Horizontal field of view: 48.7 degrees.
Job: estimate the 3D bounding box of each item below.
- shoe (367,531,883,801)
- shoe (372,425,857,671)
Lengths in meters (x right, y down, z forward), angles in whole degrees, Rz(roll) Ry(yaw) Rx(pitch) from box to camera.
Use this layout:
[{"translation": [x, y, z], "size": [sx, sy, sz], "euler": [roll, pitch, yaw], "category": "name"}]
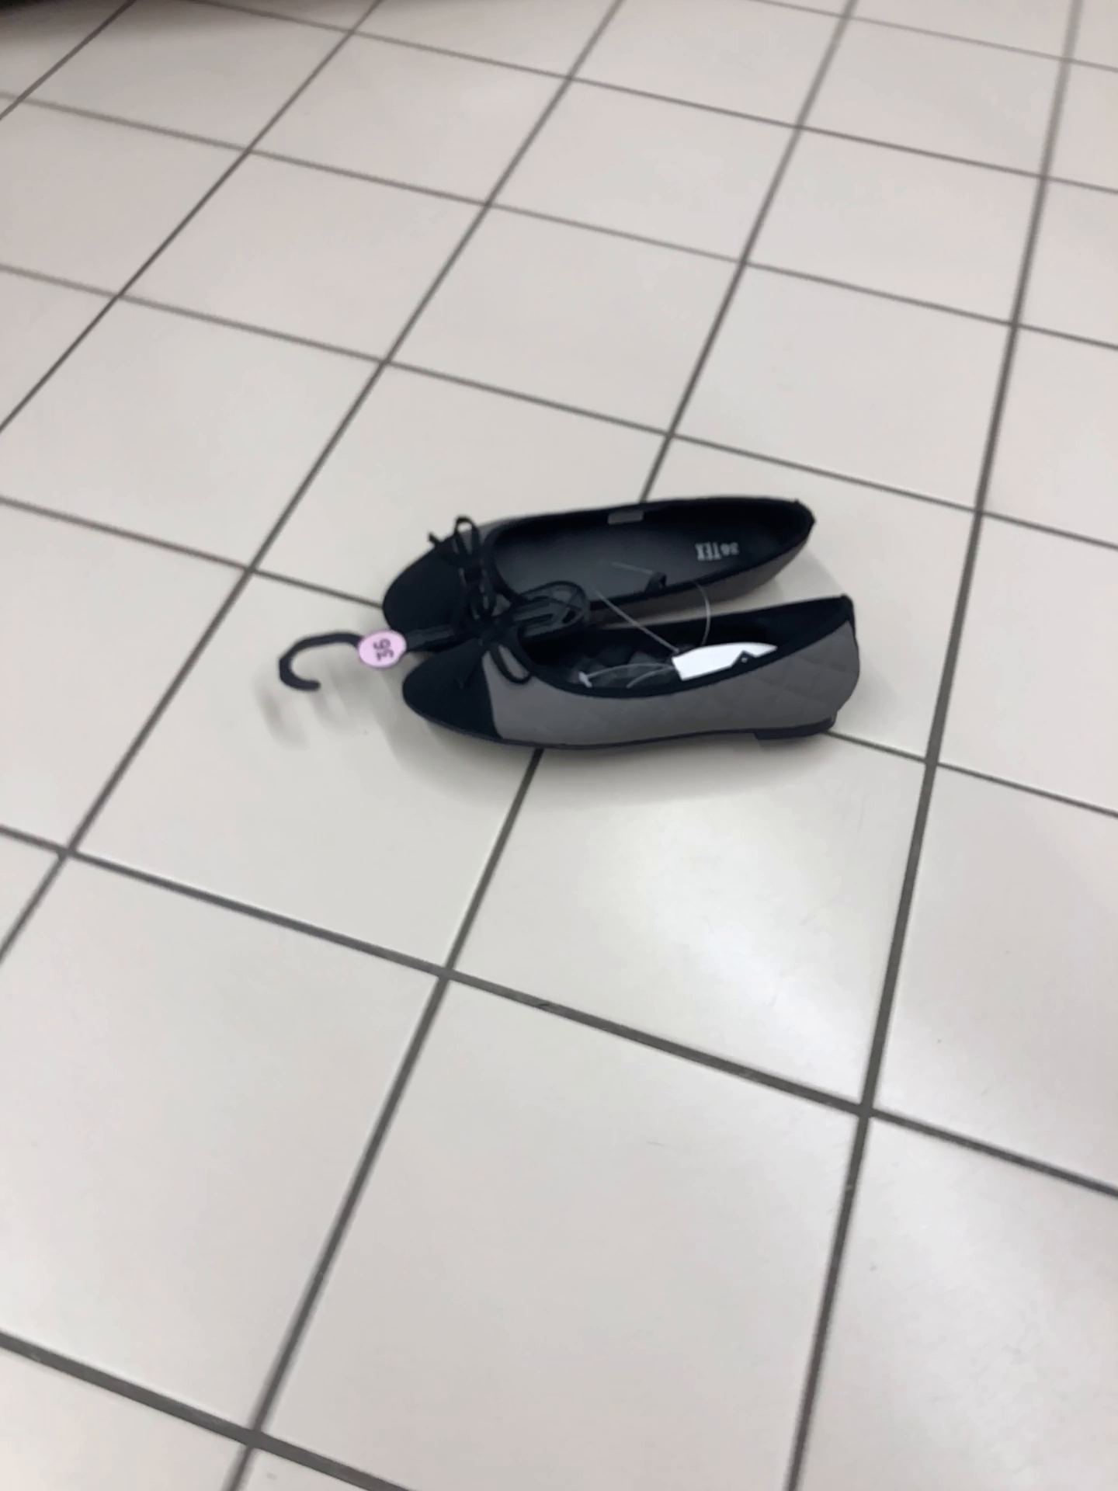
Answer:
[{"translation": [0.030, -0.043, 0.632], "size": [0.242, 0.081, 0.078], "euler": [-7, 40, -7], "category": "shoe"}, {"translation": [0.026, -0.107, 0.674], "size": [0.242, 0.081, 0.078], "euler": [-9, 78, -9], "category": "shoe"}]
